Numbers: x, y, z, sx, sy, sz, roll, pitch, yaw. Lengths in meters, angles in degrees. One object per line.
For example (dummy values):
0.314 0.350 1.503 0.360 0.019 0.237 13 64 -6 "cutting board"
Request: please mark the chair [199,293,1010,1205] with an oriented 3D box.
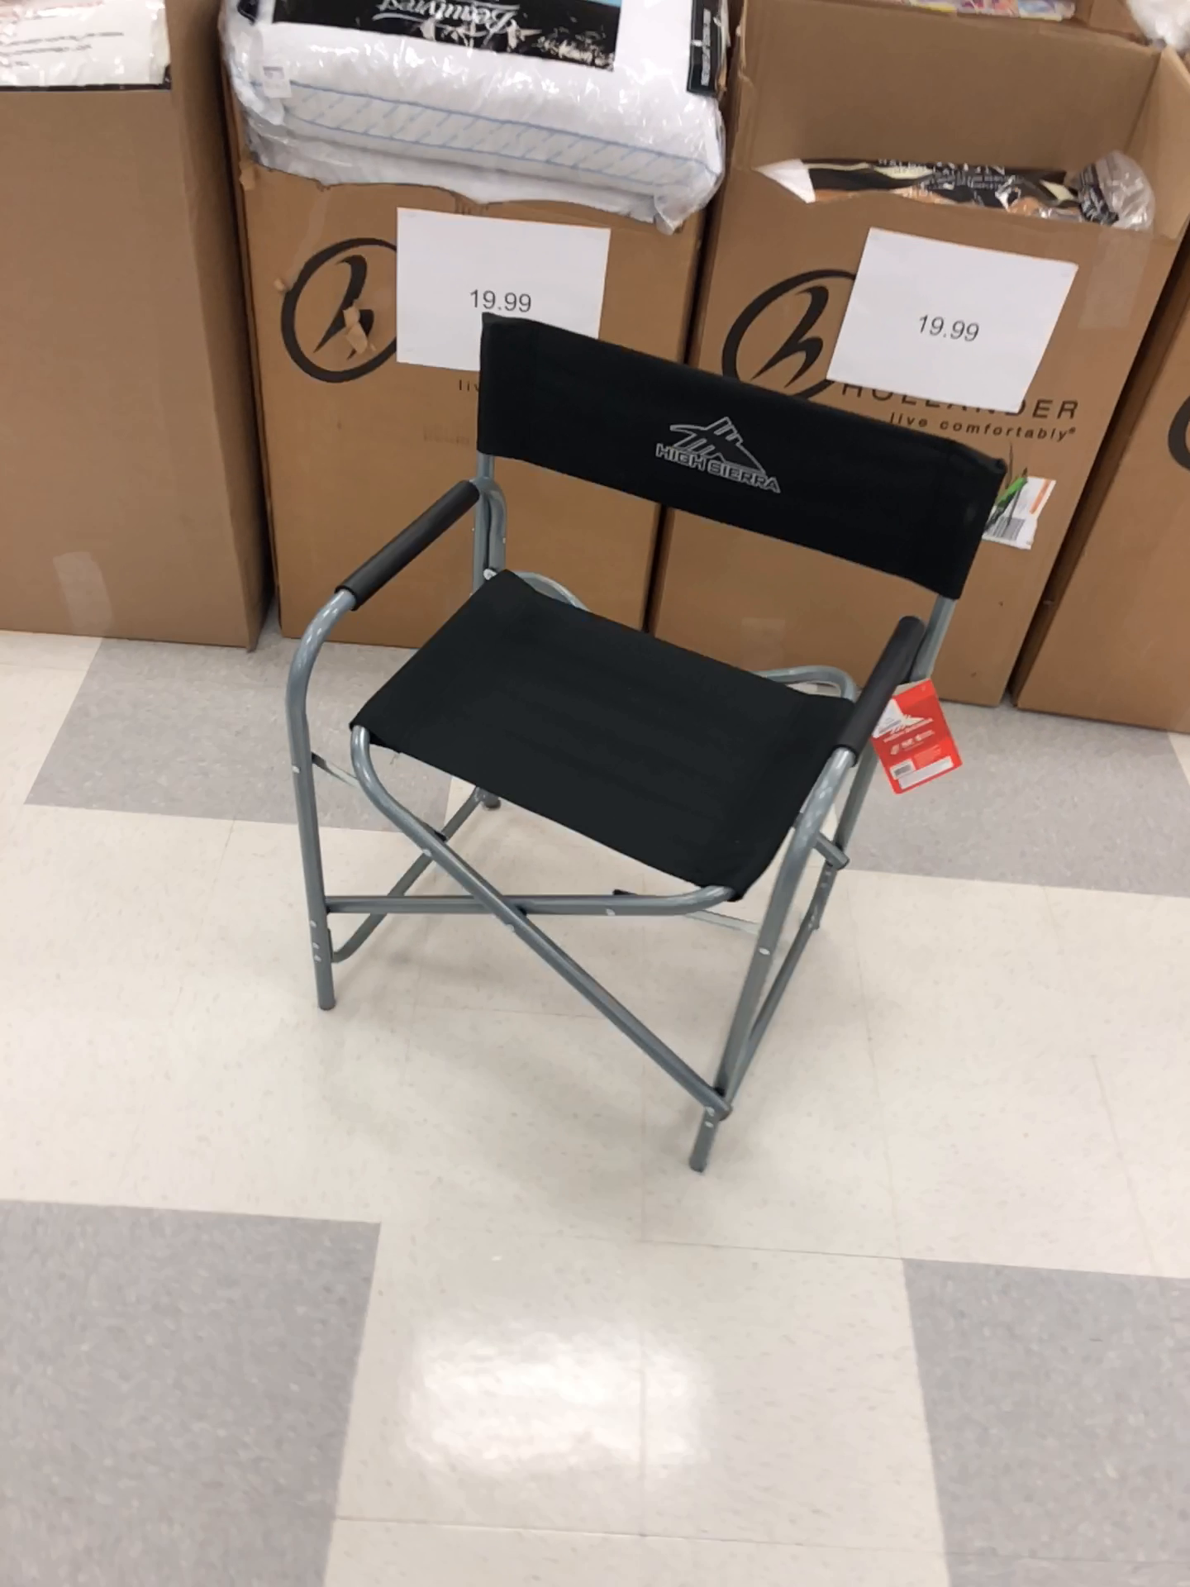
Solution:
0.008 -0.047 1.492 0.624 0.736 0.500 21 46 14 "chair"
